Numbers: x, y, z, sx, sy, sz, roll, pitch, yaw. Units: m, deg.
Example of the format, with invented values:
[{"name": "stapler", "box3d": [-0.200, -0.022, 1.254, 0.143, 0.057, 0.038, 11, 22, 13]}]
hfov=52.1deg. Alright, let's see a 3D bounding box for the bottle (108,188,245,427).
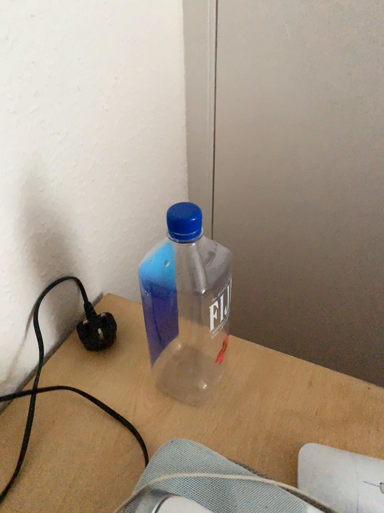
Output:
[{"name": "bottle", "box3d": [-0.007, 0.054, 0.384, 0.080, 0.208, 0.091, 15, 40, 21]}]
